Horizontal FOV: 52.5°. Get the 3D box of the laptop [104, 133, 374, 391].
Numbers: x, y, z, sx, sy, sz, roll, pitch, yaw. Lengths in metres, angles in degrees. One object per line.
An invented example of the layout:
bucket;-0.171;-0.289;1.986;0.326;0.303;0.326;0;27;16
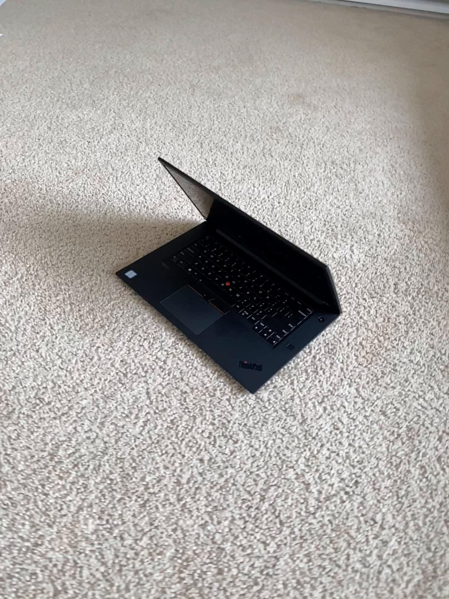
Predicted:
laptop;0.010;-0.083;0.787;0.355;0.198;0.244;38;56;26
